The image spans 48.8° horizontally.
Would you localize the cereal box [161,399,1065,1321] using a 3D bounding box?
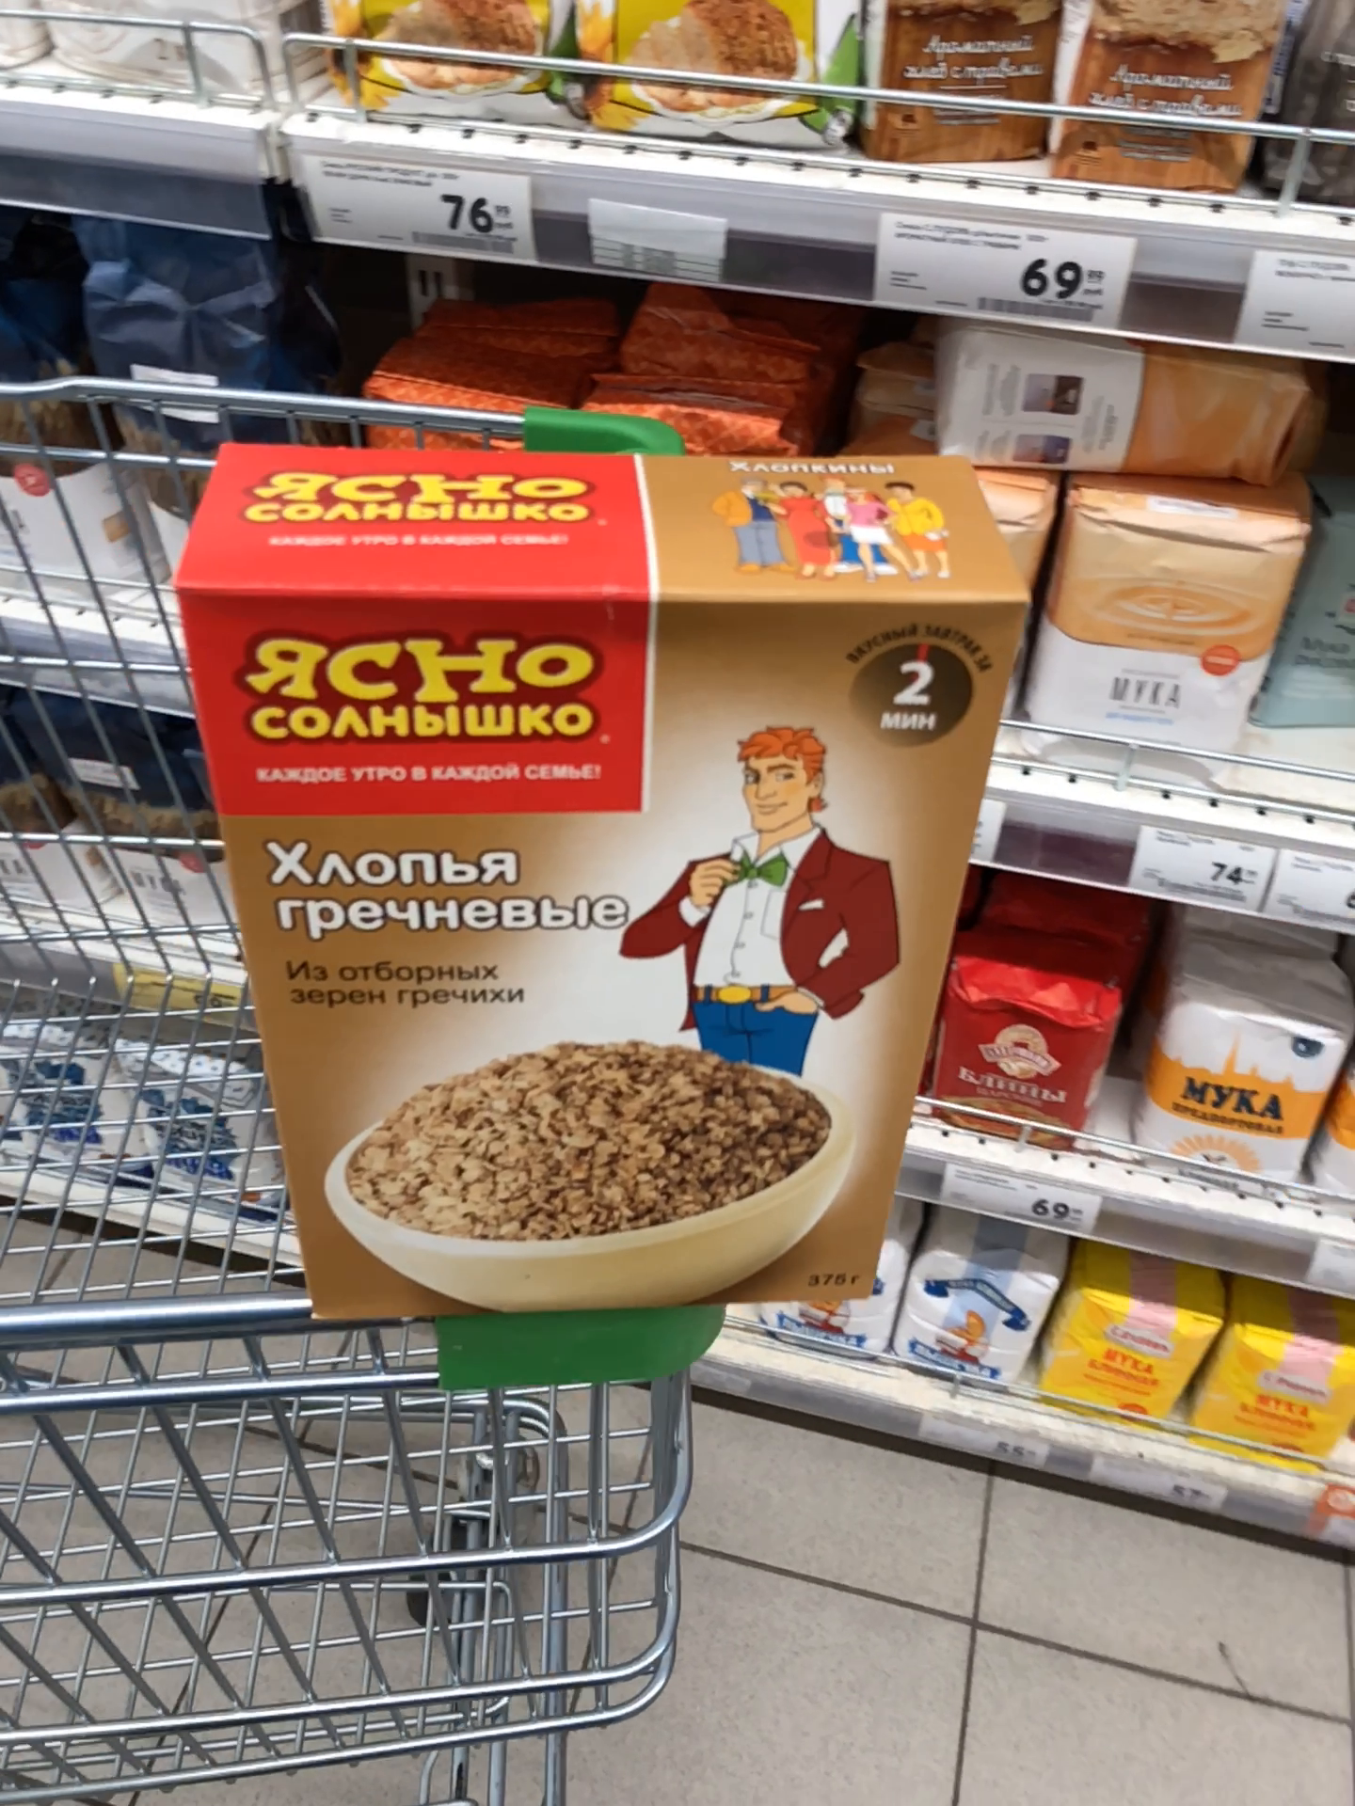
[{"bbox_3d":[-0.013,0.004,0.300,0.130,0.189,0.060,0,42,-3],"label":"cereal box"}]
